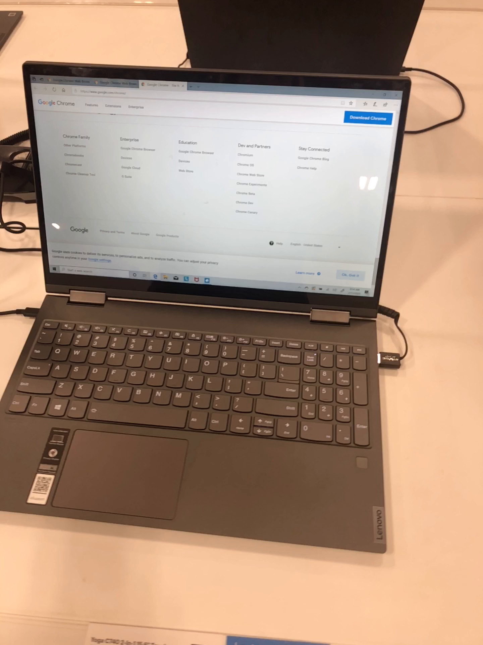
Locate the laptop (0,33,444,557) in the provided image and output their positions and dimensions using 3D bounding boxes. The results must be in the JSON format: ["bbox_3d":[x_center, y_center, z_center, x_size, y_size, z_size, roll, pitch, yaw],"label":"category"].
[{"bbox_3d":[-0.047,-0.041,0.459,0.352,0.179,0.365,5,59,5],"label":"laptop"}]
